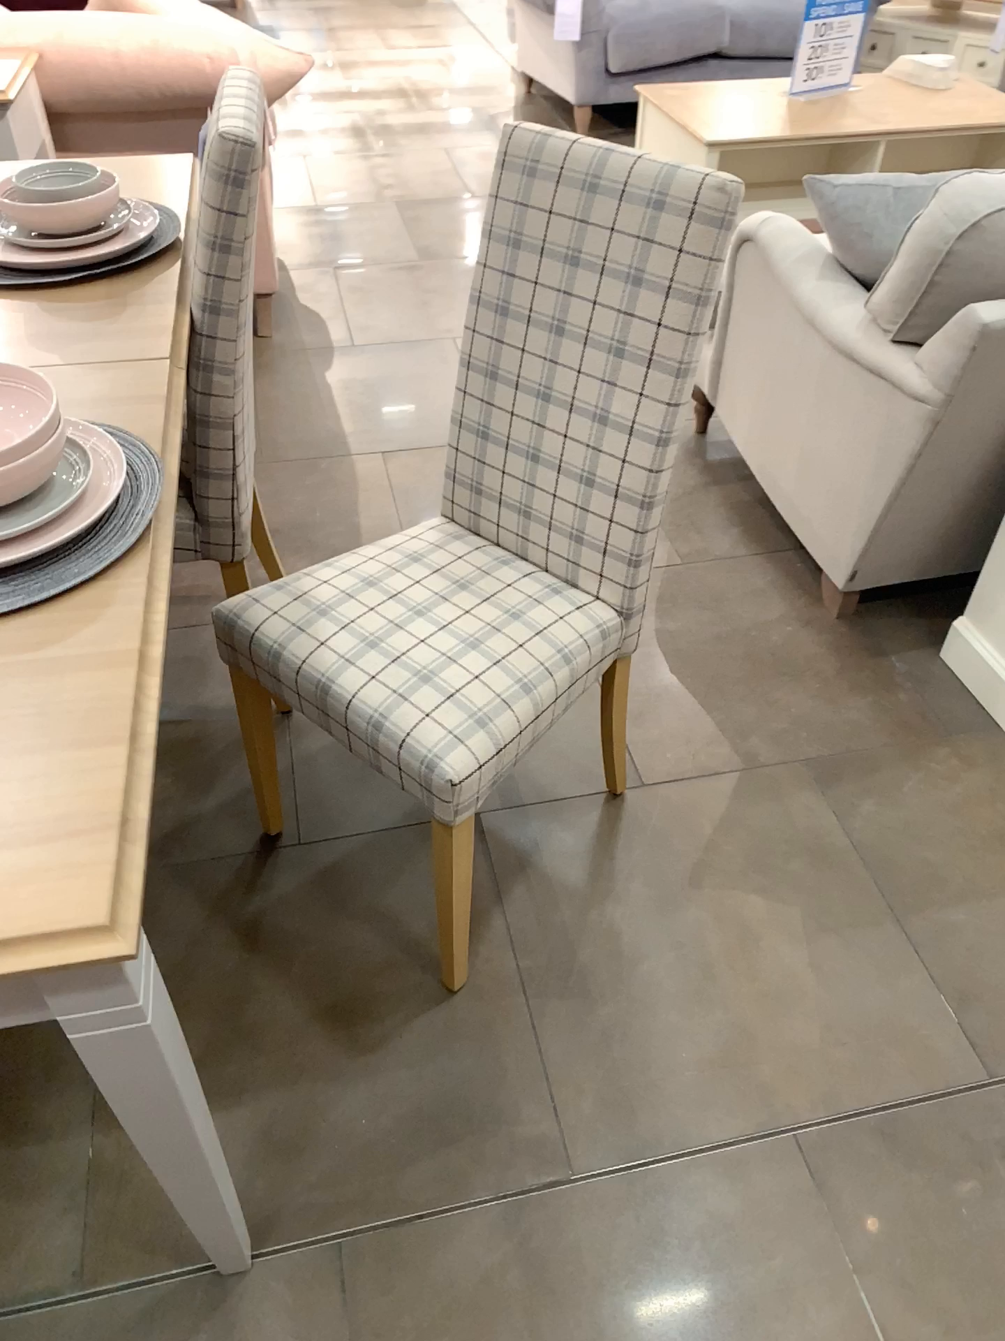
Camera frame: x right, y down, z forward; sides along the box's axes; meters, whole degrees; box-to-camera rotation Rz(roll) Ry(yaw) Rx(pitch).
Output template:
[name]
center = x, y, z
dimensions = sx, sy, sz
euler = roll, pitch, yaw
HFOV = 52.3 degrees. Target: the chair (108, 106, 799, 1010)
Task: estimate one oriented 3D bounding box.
[chair]
center = -0.035, -0.126, 1.345
dimensions = 0.430, 0.938, 0.569
euler = 29, 49, 27
